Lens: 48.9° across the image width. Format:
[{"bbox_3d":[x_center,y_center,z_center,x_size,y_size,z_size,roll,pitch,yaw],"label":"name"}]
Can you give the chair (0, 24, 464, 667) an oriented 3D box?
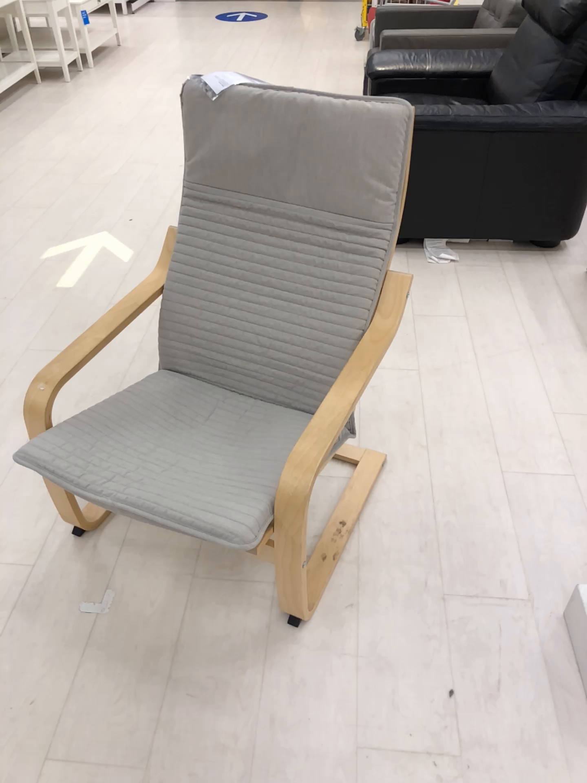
[{"bbox_3d":[-0.171,-0.131,1.375,0.731,0.996,0.702,18,42,21],"label":"chair"}]
